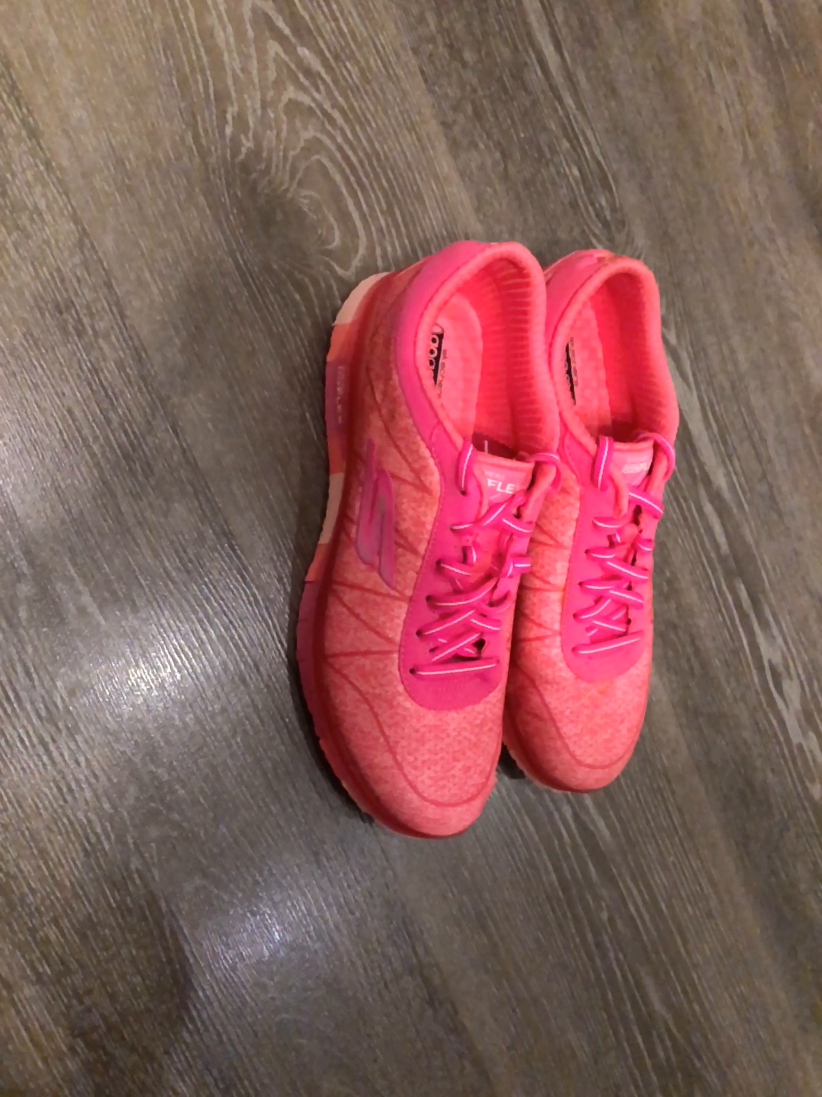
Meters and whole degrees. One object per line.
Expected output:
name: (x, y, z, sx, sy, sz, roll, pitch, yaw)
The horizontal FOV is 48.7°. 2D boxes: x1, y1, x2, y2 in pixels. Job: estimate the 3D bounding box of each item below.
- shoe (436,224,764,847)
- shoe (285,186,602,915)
shoe: (0.089, -0.007, 0.442, 0.100, 0.090, 0.260, -4, 89, -29)
shoe: (0.010, 0.001, 0.387, 0.100, 0.090, 0.260, 2, 86, -29)
